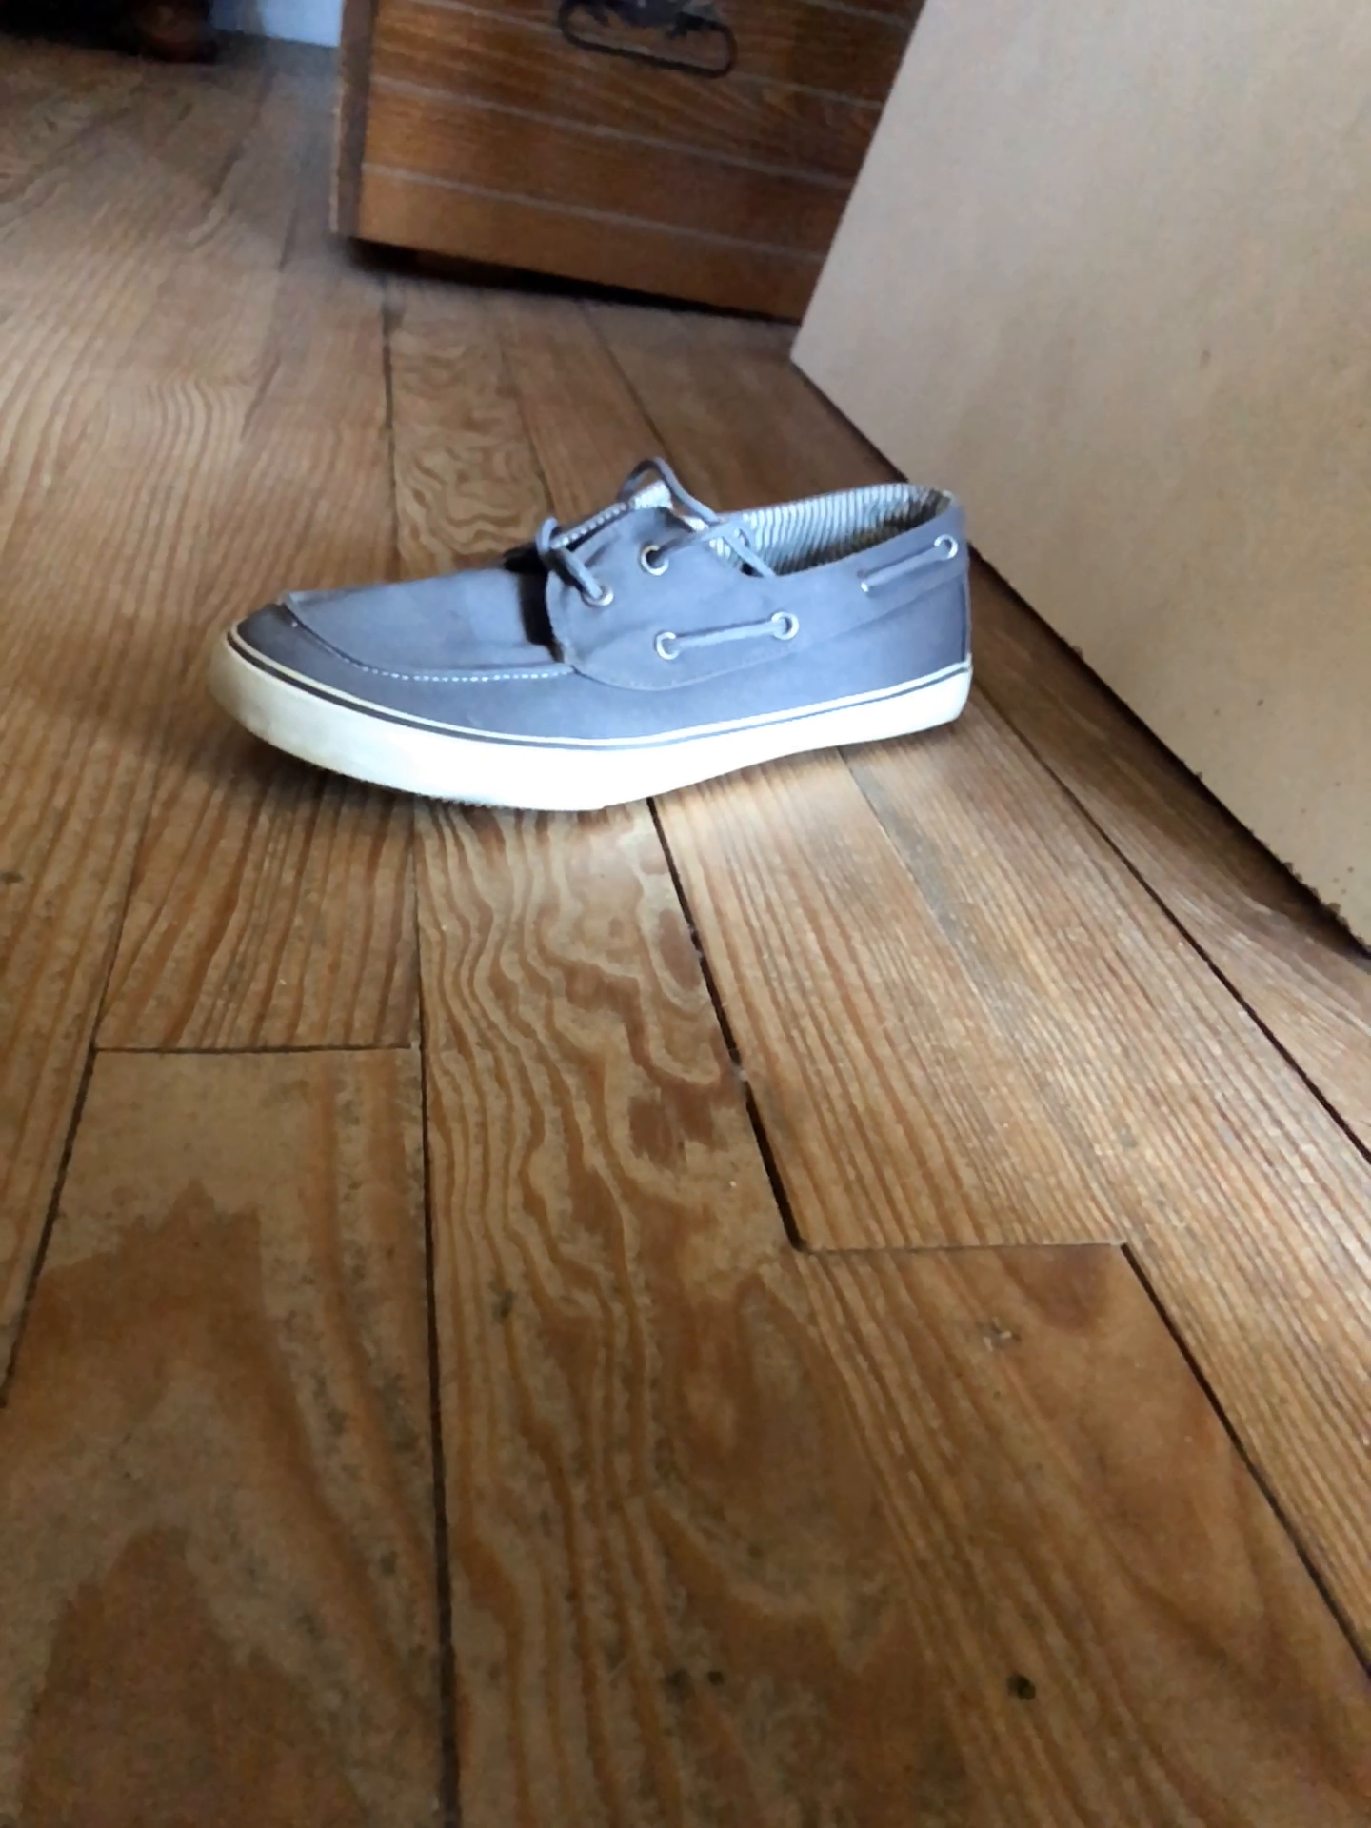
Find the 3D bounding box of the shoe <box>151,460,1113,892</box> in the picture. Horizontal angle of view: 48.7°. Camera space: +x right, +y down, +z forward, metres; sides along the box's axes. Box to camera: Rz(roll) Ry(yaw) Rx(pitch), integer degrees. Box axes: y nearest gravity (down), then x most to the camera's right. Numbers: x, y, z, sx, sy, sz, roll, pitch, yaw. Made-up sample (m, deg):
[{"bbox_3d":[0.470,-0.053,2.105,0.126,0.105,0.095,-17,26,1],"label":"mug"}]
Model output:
[{"bbox_3d":[-0.007,-0.085,0.458,0.271,0.060,0.100,-15,38,-31],"label":"shoe"}]
